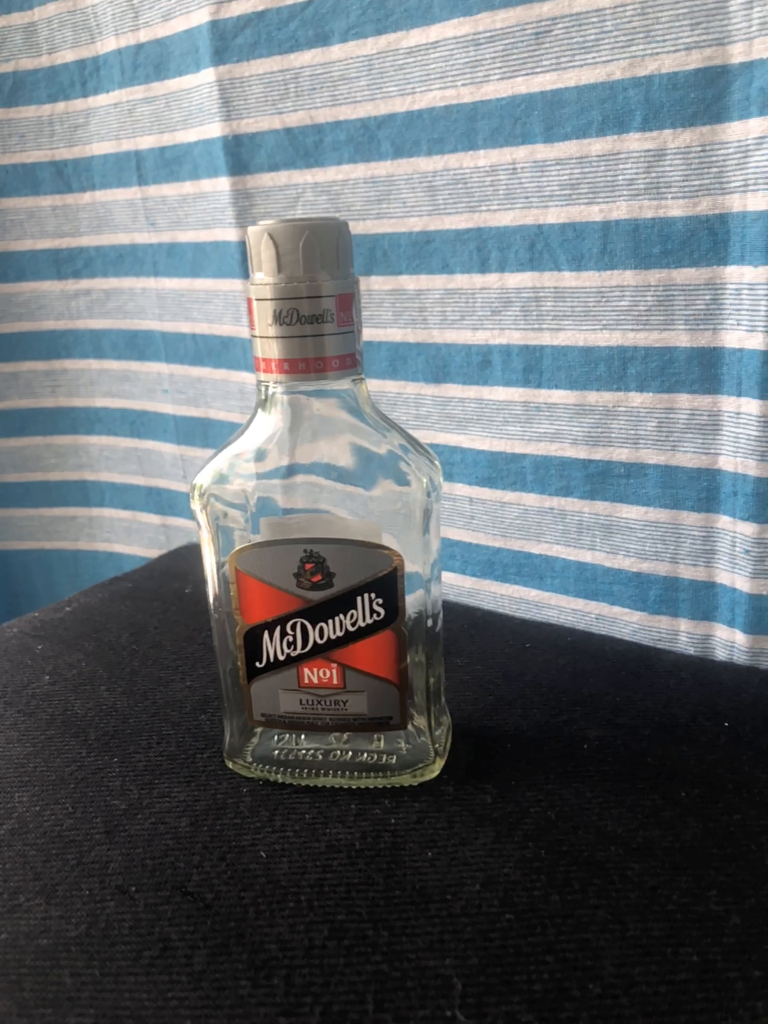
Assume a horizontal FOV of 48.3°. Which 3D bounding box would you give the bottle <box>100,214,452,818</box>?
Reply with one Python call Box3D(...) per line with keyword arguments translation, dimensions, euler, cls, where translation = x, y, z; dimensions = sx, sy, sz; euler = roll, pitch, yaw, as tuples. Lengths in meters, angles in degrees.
Box3D(translation=(-0.020, 0.001, 0.229), dimensions=(0.070, 0.149, 0.050), euler=(0, 20, 9), cls="bottle")
